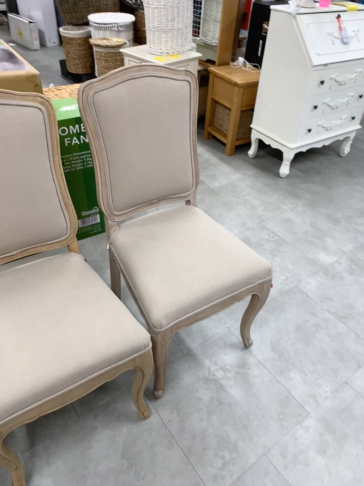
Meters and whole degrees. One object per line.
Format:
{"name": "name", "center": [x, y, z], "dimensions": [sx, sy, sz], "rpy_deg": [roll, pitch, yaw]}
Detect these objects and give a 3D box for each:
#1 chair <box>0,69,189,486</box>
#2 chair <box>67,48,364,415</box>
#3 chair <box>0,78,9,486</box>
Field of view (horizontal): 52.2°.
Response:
{"name": "chair", "center": [-0.363, 0.150, 1.019], "dimensions": [0.508, 0.972, 0.549], "rpy_deg": [-19, 46, -23]}
{"name": "chair", "center": [0.042, -0.017, 1.240], "dimensions": [0.508, 0.972, 0.549], "rpy_deg": [-23, 48, -27]}
{"name": "chair", "center": [-0.830, 0.263, 0.816], "dimensions": [0.508, 0.972, 0.549], "rpy_deg": [-19, 46, -23]}
